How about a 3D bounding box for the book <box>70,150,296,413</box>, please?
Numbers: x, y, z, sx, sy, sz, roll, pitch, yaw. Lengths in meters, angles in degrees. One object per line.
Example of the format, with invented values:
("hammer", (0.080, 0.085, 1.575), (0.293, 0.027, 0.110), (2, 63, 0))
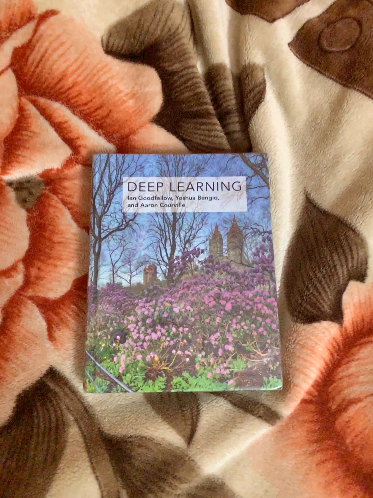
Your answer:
("book", (-0.004, 0.025, 0.398), (0.210, 0.030, 0.260), (0, 77, -3))
